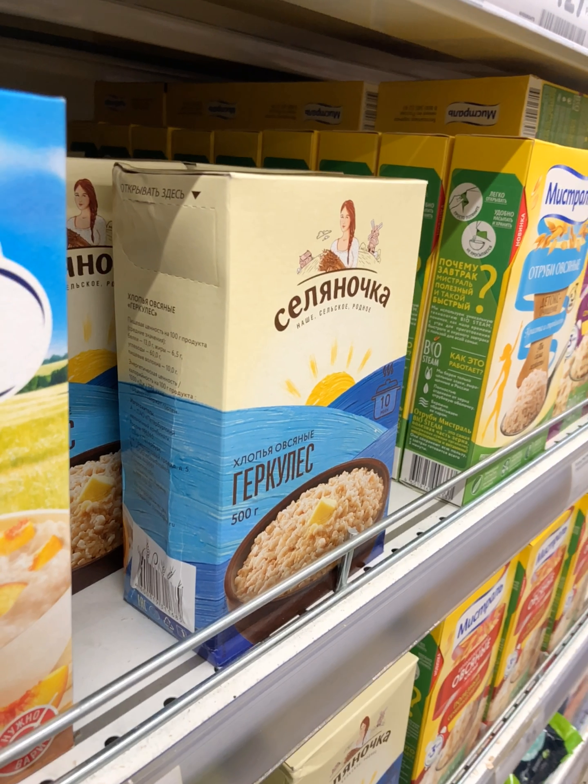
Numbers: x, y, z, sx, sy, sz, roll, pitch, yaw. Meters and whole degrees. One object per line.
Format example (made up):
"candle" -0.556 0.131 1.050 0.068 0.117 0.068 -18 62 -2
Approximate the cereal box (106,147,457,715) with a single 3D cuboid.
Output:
"cereal box" -0.003 0.006 0.279 0.060 0.199 0.130 20 25 38
